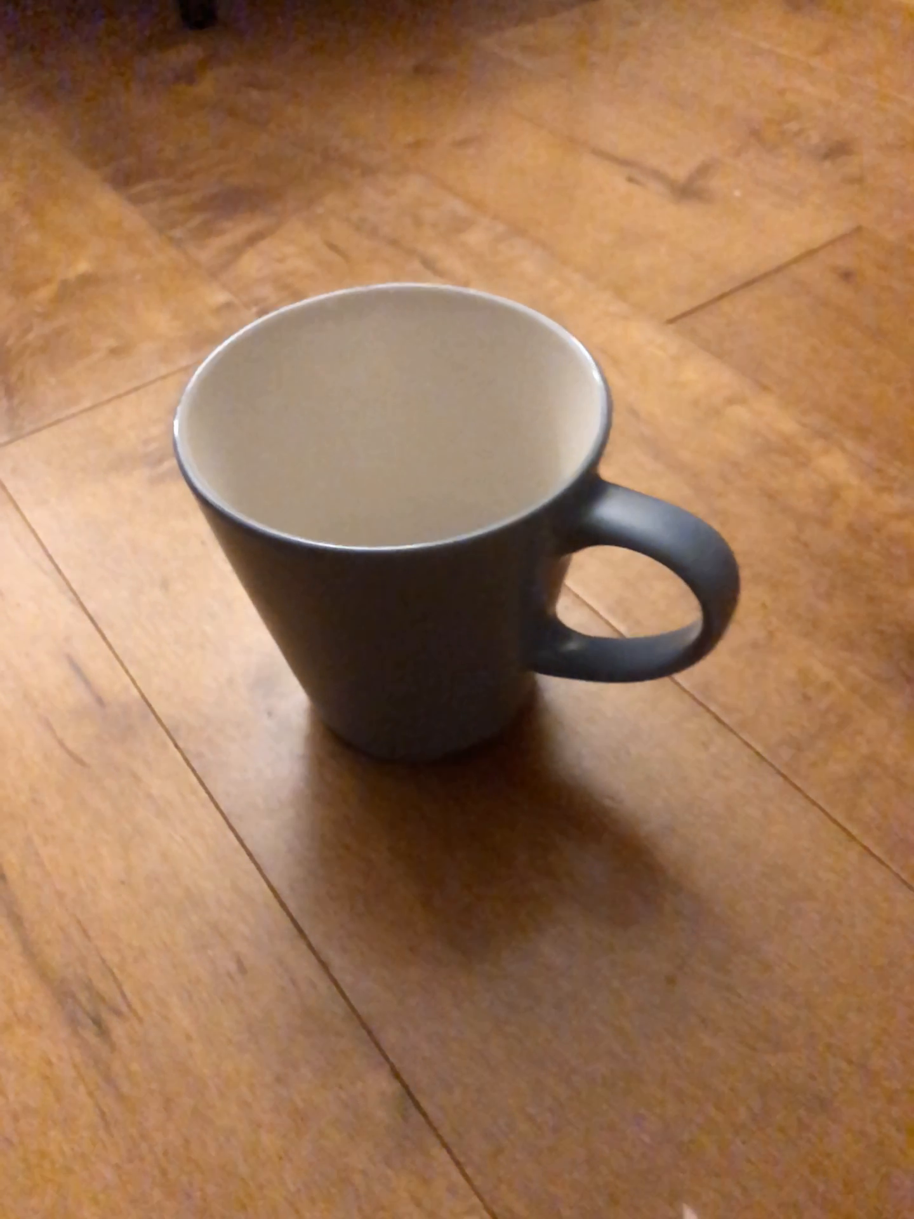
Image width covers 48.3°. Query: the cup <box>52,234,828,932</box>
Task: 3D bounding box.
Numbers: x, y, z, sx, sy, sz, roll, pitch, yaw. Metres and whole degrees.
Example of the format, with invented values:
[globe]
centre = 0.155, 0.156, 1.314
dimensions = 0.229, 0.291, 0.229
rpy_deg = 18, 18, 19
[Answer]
[cup]
centre = 0.000, -0.013, 0.261
dimensions = 0.140, 0.099, 0.100
rpy_deg = 21, 52, 20
